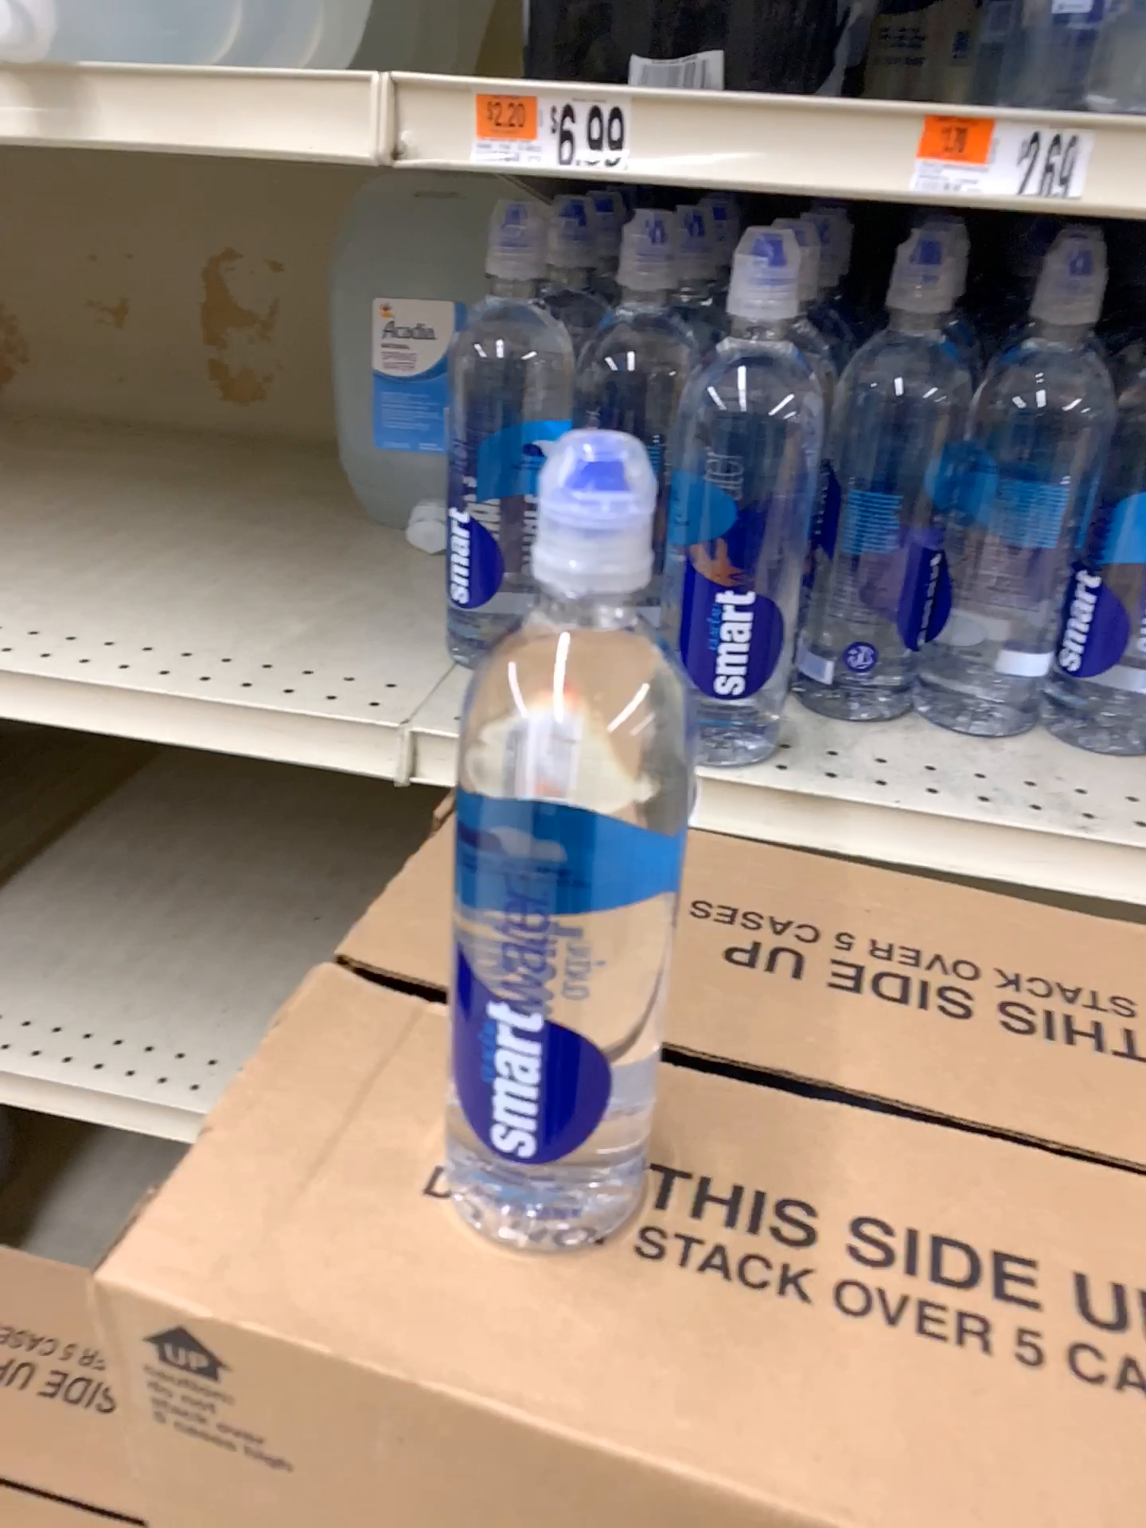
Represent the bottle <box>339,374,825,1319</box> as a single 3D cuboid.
[{"bbox_3d":[0.002,0.028,0.337,0.090,0.249,0.090,2,29,-1],"label":"bottle"}]
